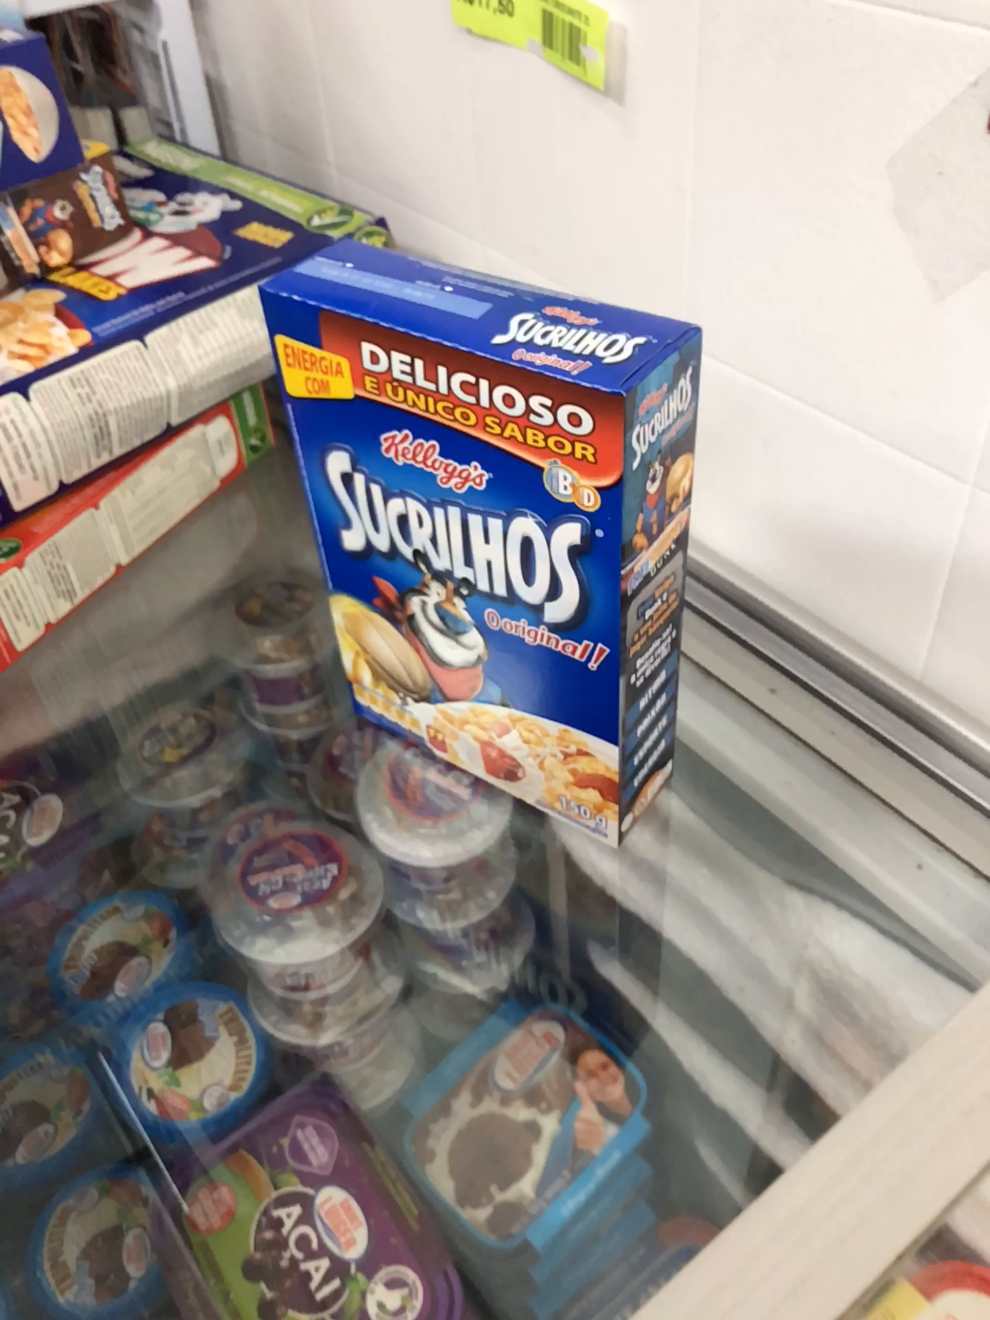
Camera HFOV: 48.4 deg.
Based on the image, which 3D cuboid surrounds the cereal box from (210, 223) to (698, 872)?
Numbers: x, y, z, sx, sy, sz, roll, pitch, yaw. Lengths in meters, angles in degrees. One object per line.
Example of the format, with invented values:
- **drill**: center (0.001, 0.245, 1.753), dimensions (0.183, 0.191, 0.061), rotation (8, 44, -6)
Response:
- **cereal box**: center (-0.010, -0.033, 0.388), dimensions (0.140, 0.198, 0.050), rotation (25, 51, 27)
